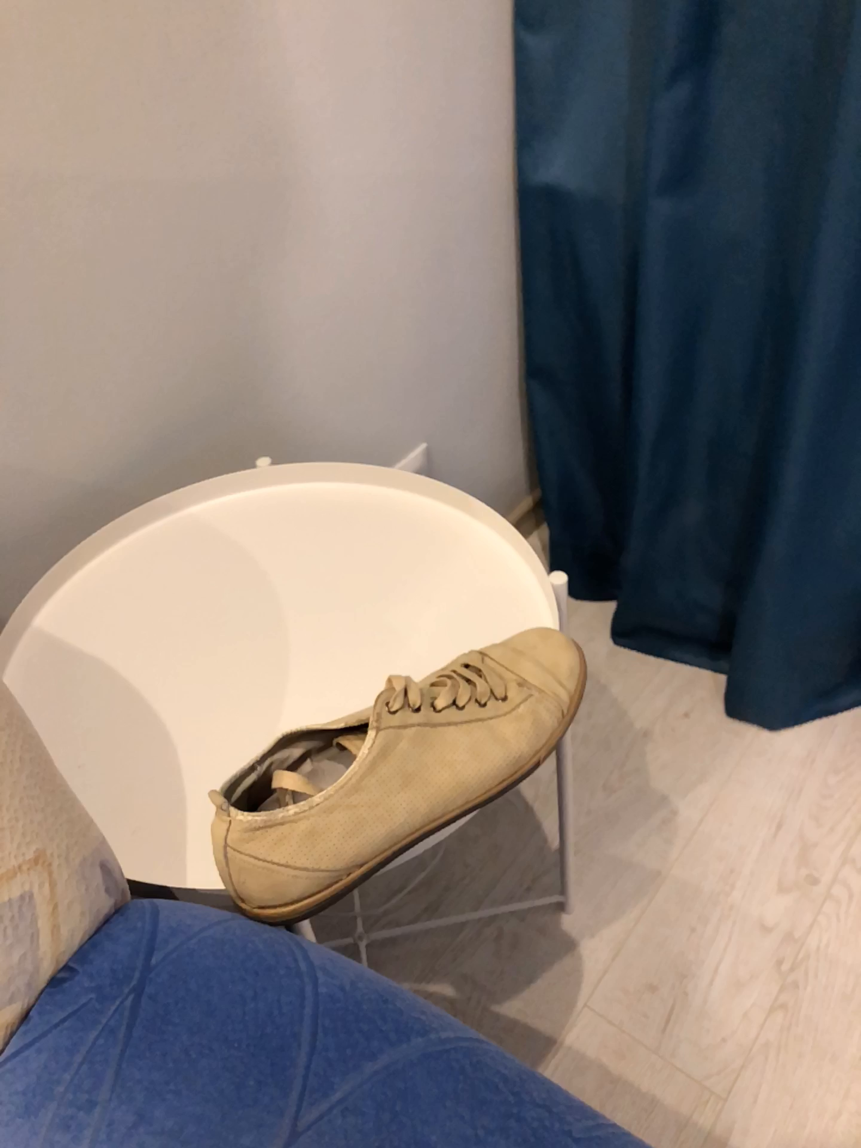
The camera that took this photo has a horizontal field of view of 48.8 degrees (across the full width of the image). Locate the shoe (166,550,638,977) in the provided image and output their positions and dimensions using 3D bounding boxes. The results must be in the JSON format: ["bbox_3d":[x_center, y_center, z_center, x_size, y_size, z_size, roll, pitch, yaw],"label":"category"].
[{"bbox_3d":[-0.005,0.100,0.589,0.281,0.070,0.110,-33,44,-28],"label":"shoe"}]
